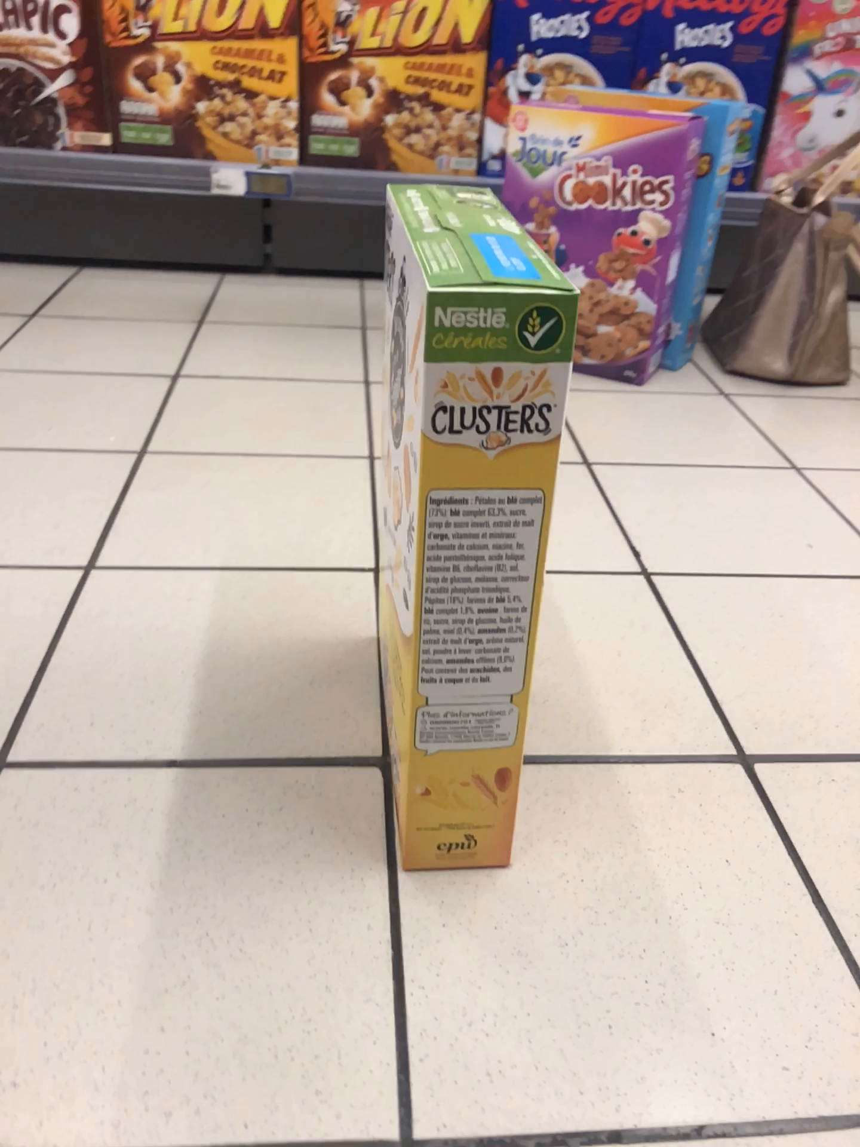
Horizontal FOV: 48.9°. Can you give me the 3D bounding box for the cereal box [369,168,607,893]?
[{"bbox_3d":[0.008,-0.028,0.457,0.060,0.278,0.211,-1,31,-7],"label":"cereal box"}]
